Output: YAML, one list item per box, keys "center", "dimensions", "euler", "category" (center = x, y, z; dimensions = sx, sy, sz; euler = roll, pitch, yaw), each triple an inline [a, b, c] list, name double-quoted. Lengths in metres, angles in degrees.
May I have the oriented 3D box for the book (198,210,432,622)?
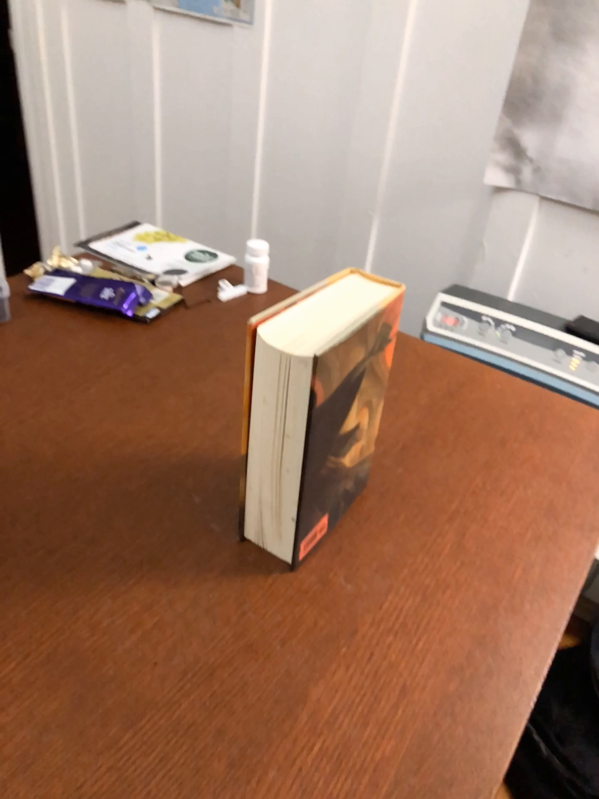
- center: [0.009, 0.012, 0.582]
  dimensions: [0.070, 0.298, 0.211]
  euler: [25, 39, 26]
  category: "book"
